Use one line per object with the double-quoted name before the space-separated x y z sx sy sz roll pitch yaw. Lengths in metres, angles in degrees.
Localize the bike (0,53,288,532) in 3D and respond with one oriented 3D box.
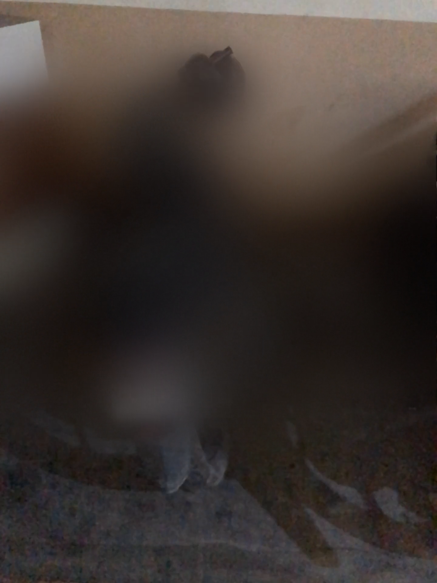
"bike" -0.271 -0.162 1.950 0.717 1.178 1.713 1 36 -2
